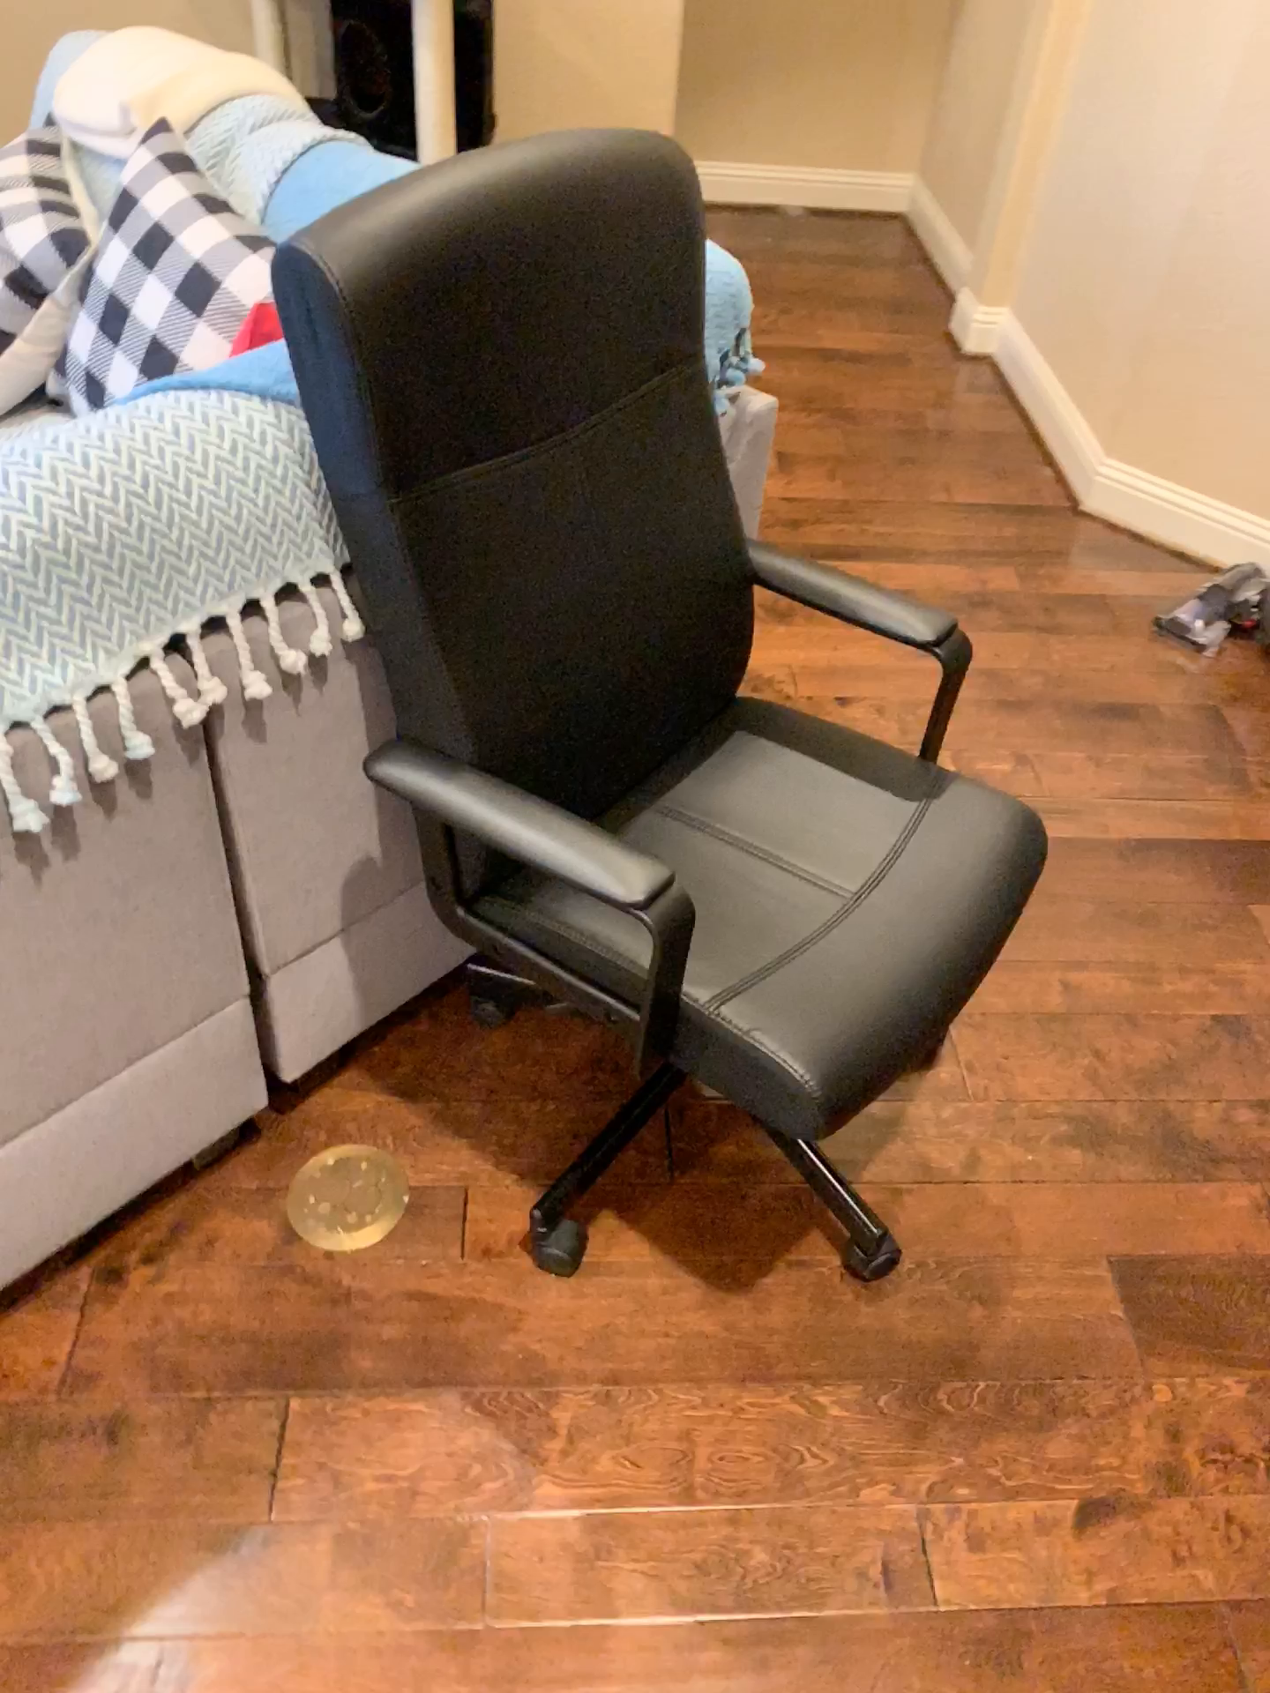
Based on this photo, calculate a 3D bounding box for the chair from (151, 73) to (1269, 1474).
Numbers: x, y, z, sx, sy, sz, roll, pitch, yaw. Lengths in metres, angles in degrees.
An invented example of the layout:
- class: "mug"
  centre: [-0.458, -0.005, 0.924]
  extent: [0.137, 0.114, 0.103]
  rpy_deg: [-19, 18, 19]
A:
- class: "chair"
  centre: [0.130, -0.093, 1.361]
  extent: [0.760, 1.037, 0.737]
  rpy_deg: [32, 49, 25]
